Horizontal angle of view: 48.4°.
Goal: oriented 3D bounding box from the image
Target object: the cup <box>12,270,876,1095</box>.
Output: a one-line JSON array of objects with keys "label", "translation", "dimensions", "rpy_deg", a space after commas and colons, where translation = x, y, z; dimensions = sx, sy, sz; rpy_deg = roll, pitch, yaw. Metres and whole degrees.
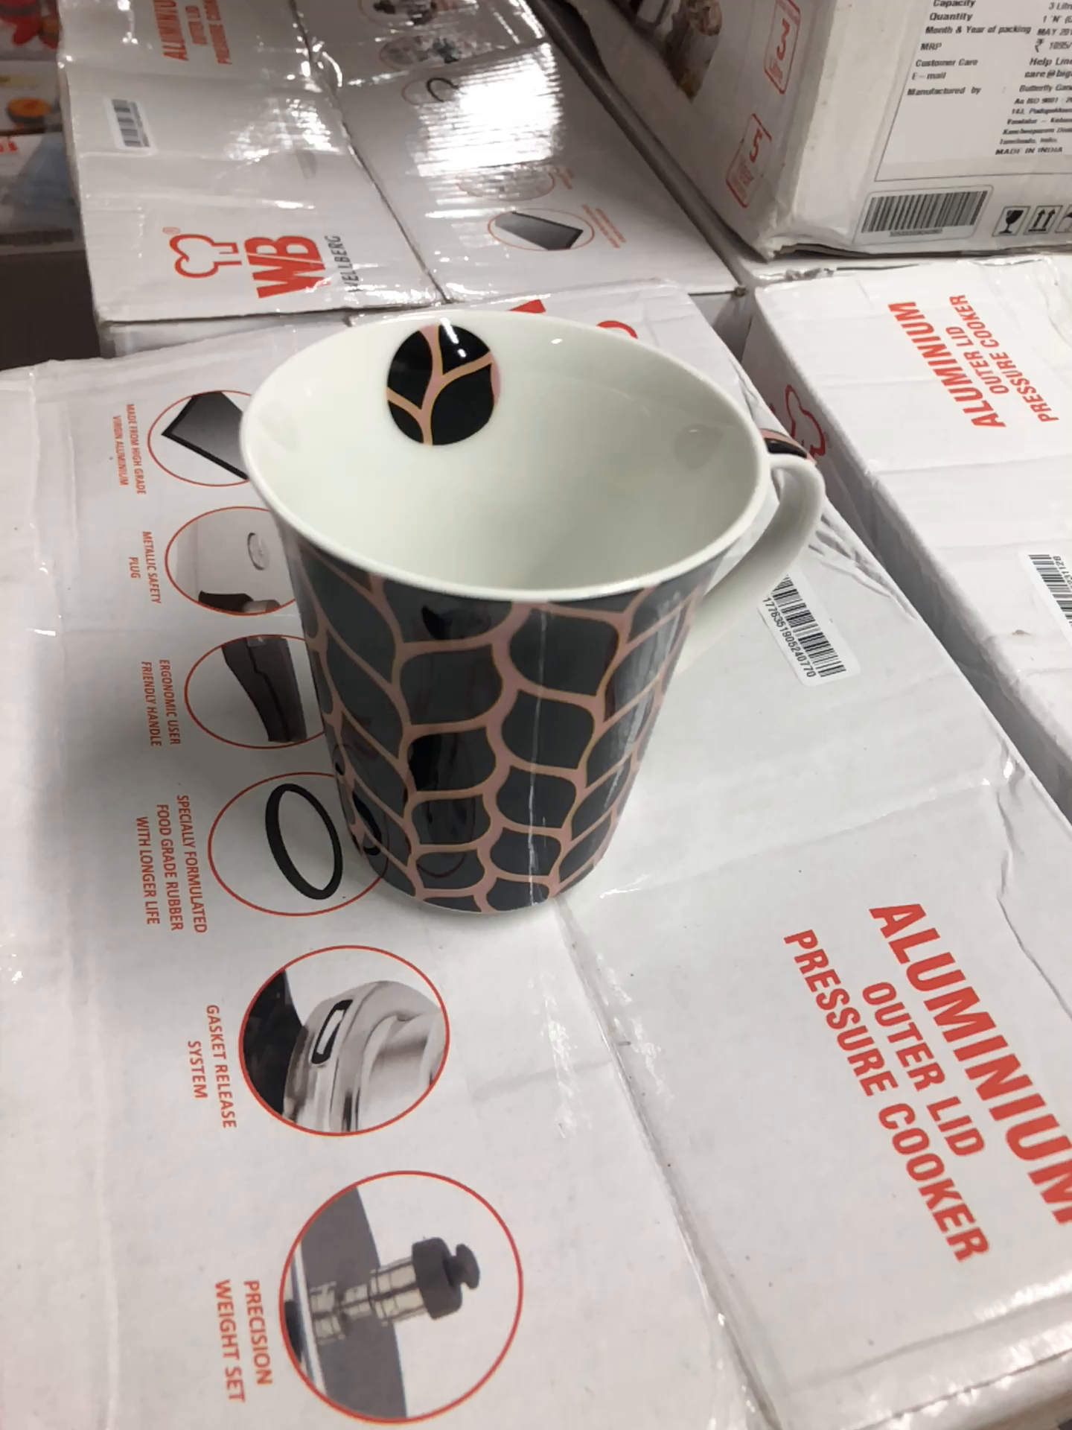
[{"label": "cup", "translation": [-0.020, -0.009, 0.221], "dimensions": [0.110, 0.099, 0.080], "rpy_deg": [-18, 52, -23]}]
